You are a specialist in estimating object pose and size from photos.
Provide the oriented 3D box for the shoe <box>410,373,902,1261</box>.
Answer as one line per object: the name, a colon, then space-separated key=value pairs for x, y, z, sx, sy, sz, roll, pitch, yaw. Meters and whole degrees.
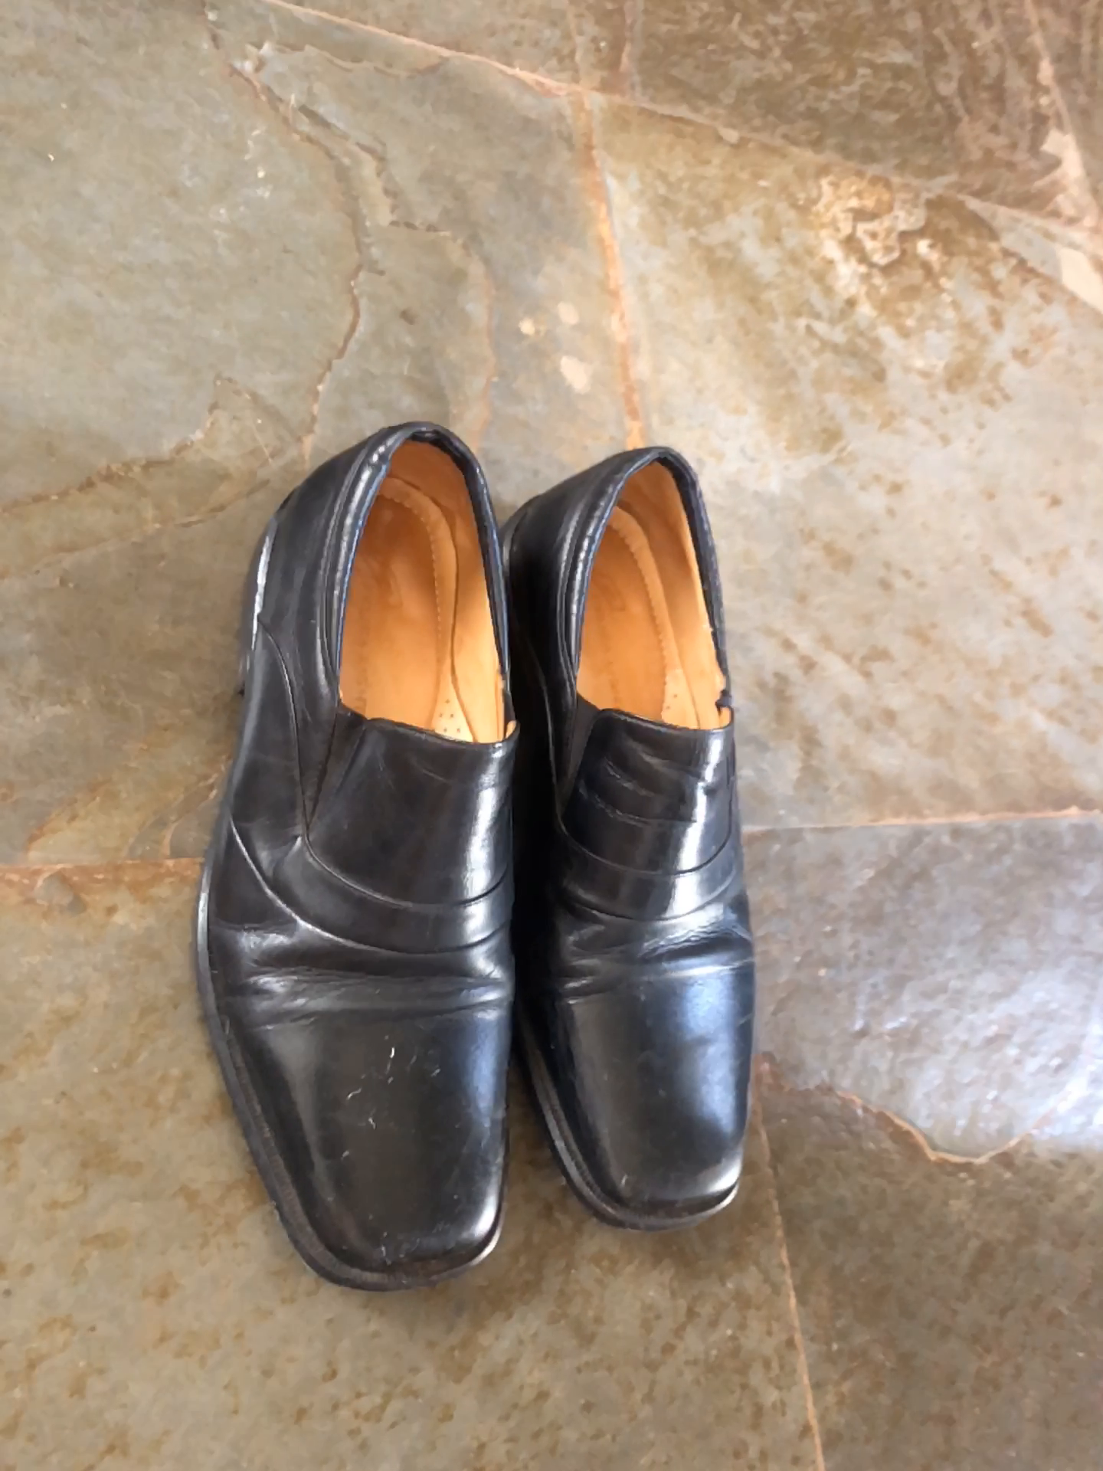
shoe: x=0.025 y=0.028 z=0.443 sx=0.100 sy=0.109 sz=0.281 roll=2 pitch=71 yaw=-27

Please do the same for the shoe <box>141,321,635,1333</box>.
shoe: x=-0.066 y=0.026 z=0.401 sx=0.111 sy=0.109 sz=0.280 roll=2 pitch=71 yaw=-27
